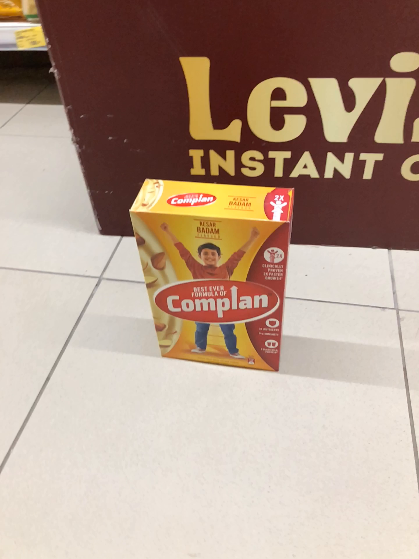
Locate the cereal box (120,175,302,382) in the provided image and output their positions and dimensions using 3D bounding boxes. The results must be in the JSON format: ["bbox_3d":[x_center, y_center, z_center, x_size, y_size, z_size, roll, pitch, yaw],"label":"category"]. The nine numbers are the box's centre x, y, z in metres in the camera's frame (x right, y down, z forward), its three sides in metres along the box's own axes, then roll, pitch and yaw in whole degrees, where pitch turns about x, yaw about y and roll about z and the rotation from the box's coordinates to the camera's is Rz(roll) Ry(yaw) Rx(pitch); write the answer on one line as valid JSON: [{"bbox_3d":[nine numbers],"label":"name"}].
[{"bbox_3d":[0.010,0.008,0.478,0.150,0.219,0.060,5,45,11],"label":"cereal box"}]
